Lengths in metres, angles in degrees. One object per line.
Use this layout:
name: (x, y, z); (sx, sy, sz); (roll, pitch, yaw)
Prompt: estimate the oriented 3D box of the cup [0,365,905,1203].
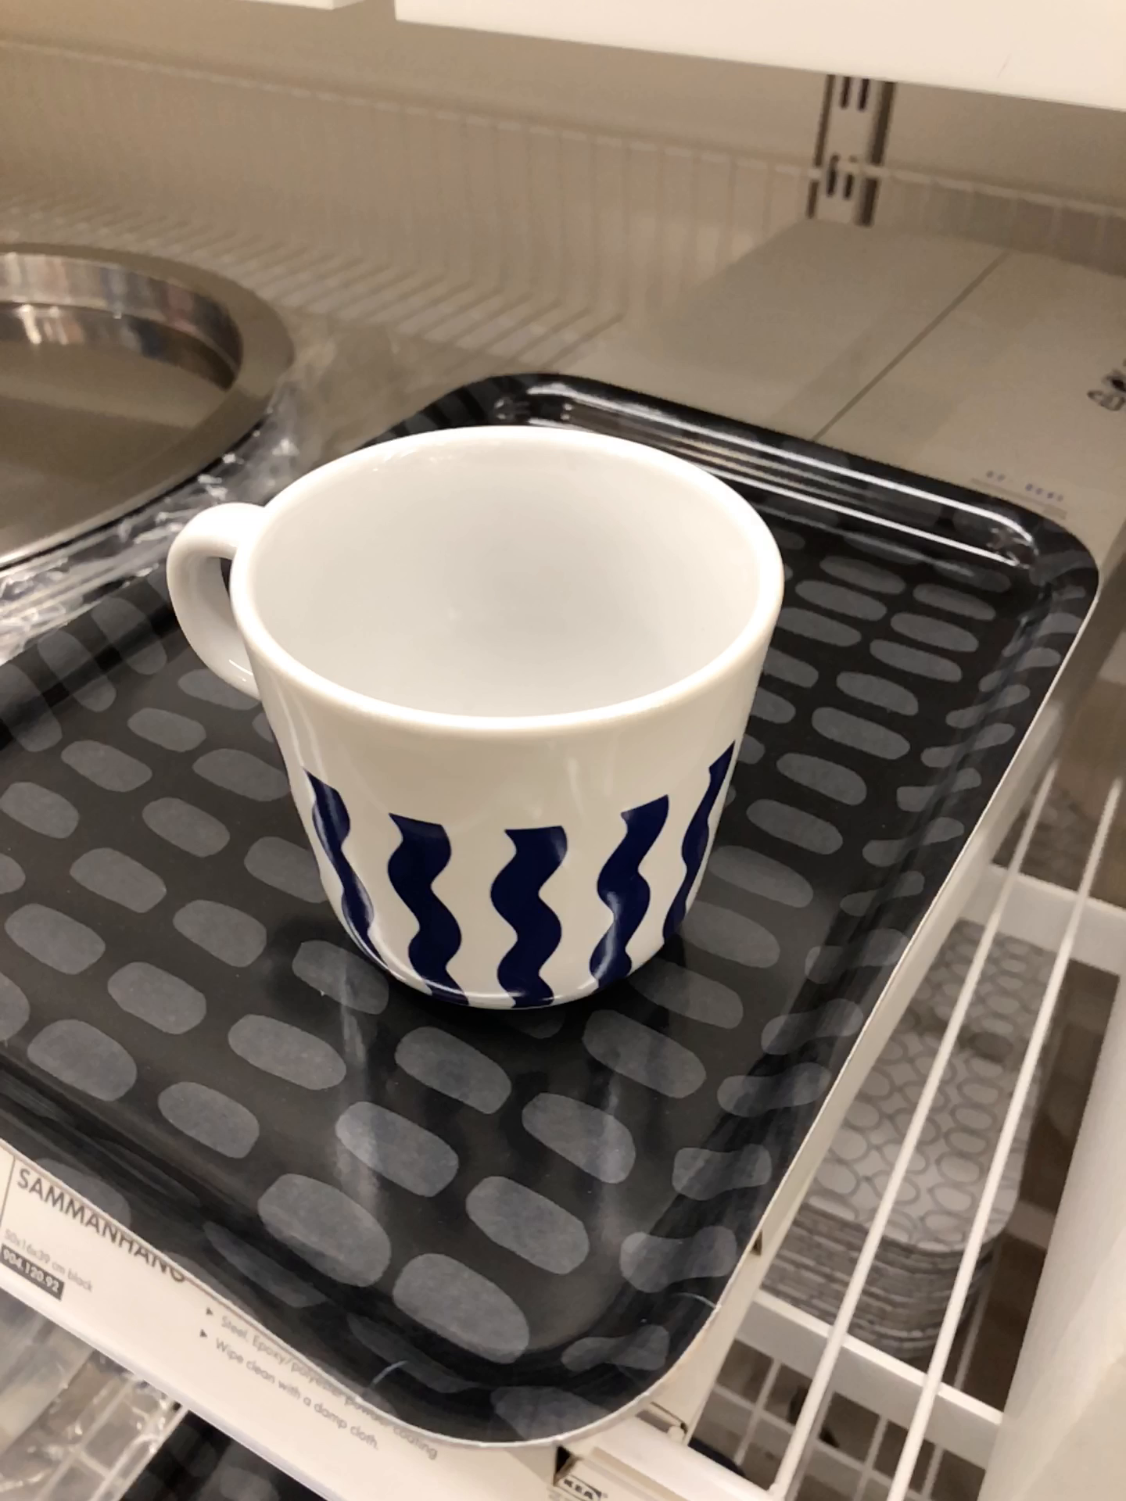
cup: (-0.017, -0.003, 0.223); (0.120, 0.080, 0.090); (17, 41, 19)
